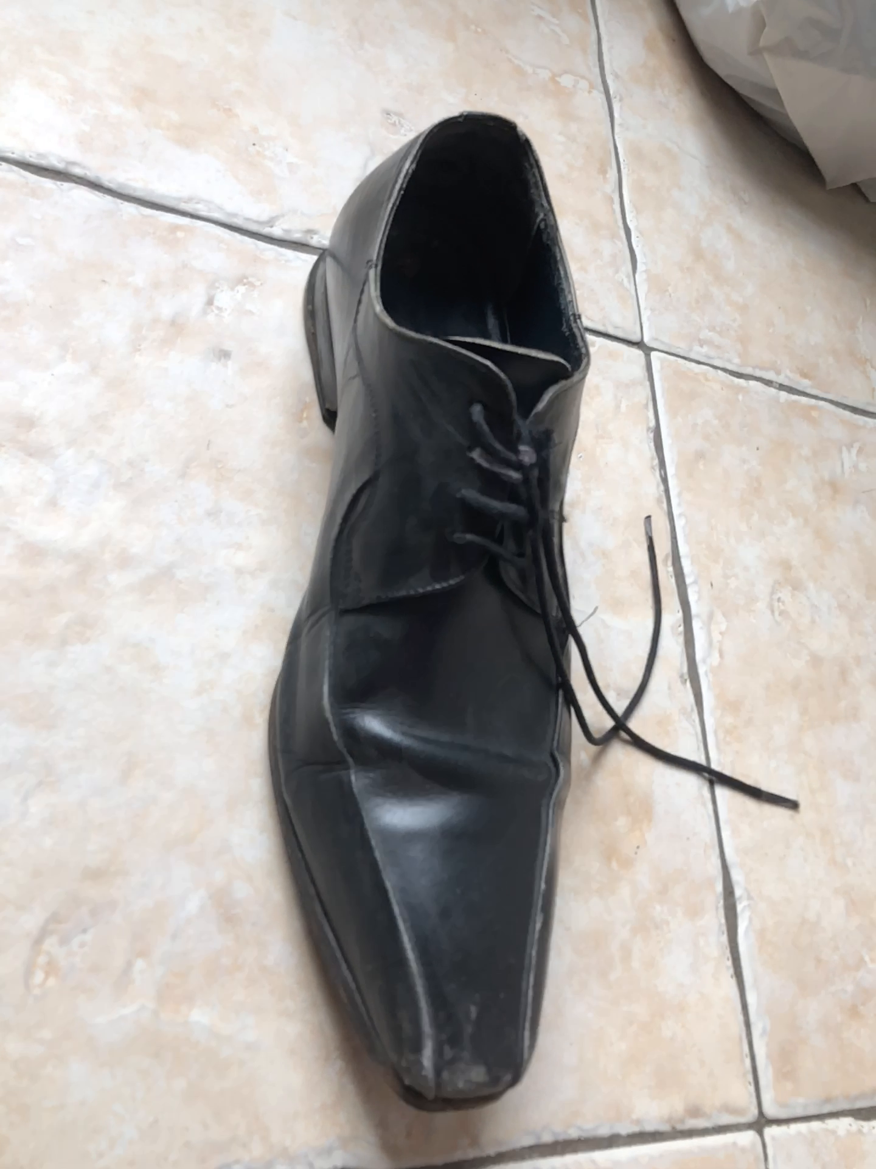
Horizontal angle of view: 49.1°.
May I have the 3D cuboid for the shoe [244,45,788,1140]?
[{"bbox_3d":[0.015,-0.007,0.290,0.100,0.090,0.291,11,64,-22],"label":"shoe"}]
